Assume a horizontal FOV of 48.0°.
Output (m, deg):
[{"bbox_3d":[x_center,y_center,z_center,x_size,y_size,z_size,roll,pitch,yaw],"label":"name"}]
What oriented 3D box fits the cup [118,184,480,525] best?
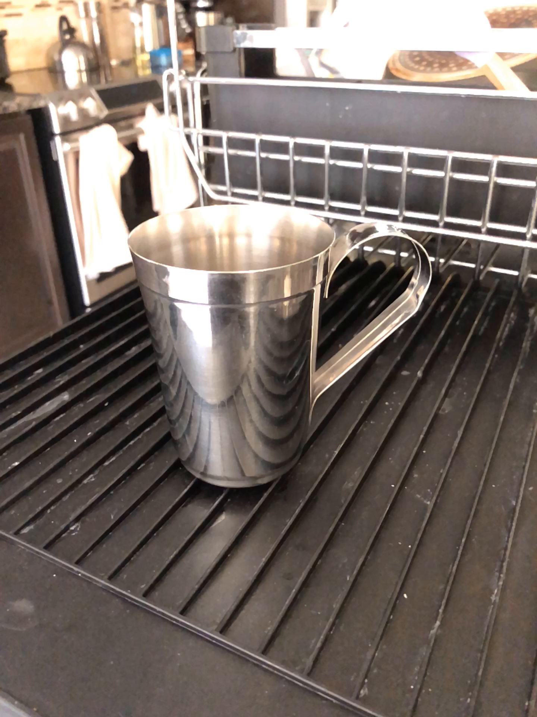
[{"bbox_3d":[0.007,-0.006,0.232,0.110,0.097,0.066,-8,31,-13],"label":"cup"}]
